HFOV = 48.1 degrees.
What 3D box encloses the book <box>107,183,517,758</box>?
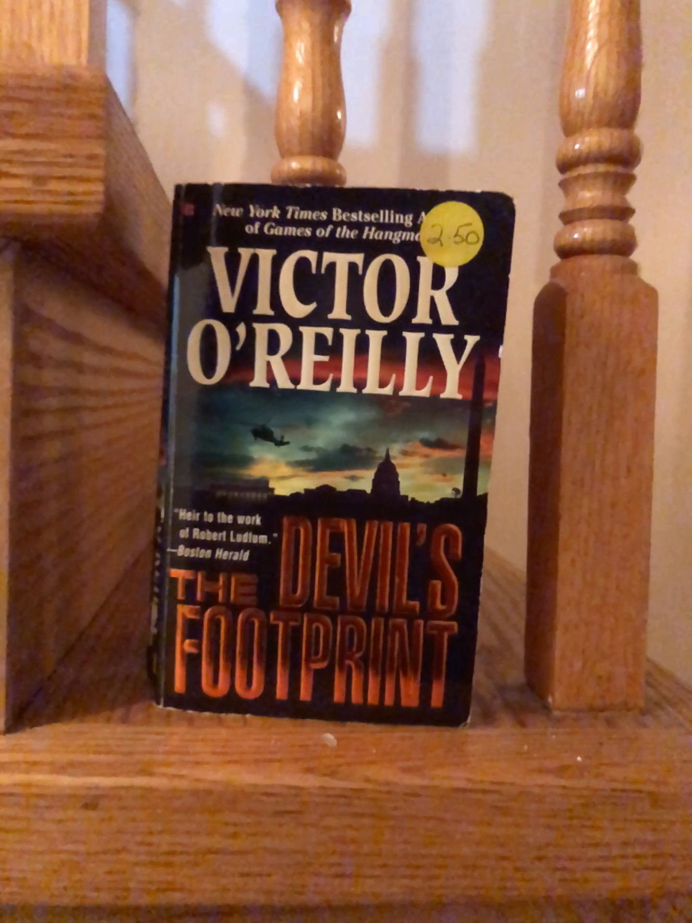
[{"bbox_3d":[-0.011,0.001,0.259,0.120,0.170,0.050,3,7,6],"label":"book"}]
